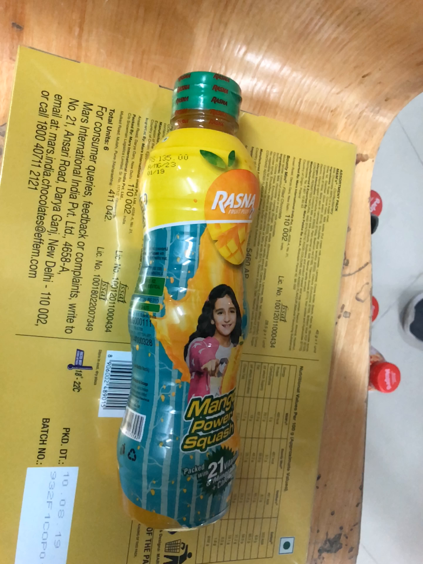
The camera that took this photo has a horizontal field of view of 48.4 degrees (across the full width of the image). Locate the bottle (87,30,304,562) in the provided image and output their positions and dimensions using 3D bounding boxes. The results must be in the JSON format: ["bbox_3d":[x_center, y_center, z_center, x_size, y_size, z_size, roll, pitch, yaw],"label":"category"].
[{"bbox_3d":[-0.007,0.008,0.273,0.080,0.050,0.260,8,89,-41],"label":"bottle"}]
